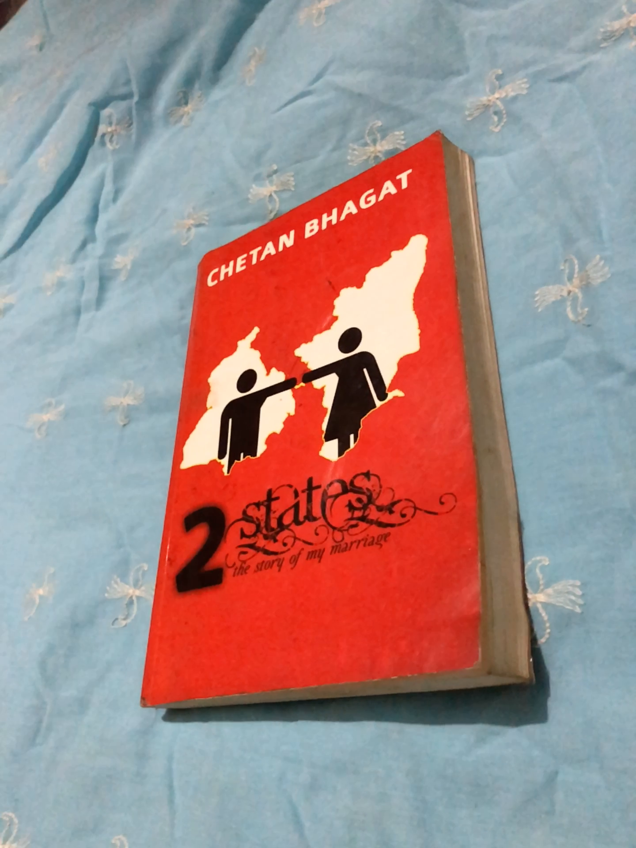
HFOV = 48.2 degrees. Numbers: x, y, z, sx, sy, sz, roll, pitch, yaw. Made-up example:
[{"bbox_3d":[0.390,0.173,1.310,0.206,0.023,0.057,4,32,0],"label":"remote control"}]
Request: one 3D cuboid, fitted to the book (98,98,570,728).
[{"bbox_3d":[-0.002,-0.006,0.252,0.140,0.030,0.200,-18,55,29],"label":"book"}]
